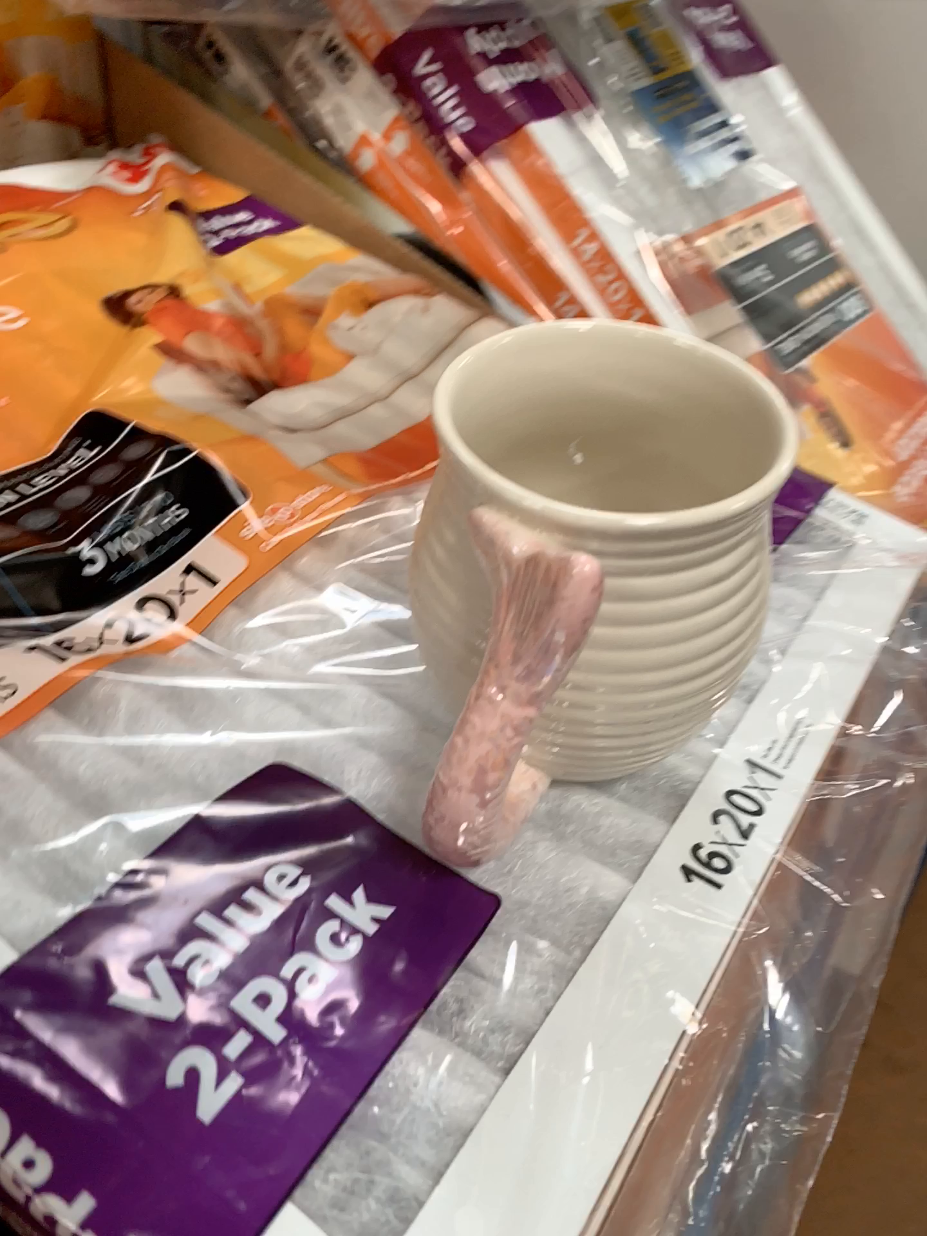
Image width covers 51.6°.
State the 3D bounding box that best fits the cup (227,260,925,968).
[{"bbox_3d":[0.031,-0.013,0.249,0.100,0.089,0.141,30,48,24],"label":"cup"}]
